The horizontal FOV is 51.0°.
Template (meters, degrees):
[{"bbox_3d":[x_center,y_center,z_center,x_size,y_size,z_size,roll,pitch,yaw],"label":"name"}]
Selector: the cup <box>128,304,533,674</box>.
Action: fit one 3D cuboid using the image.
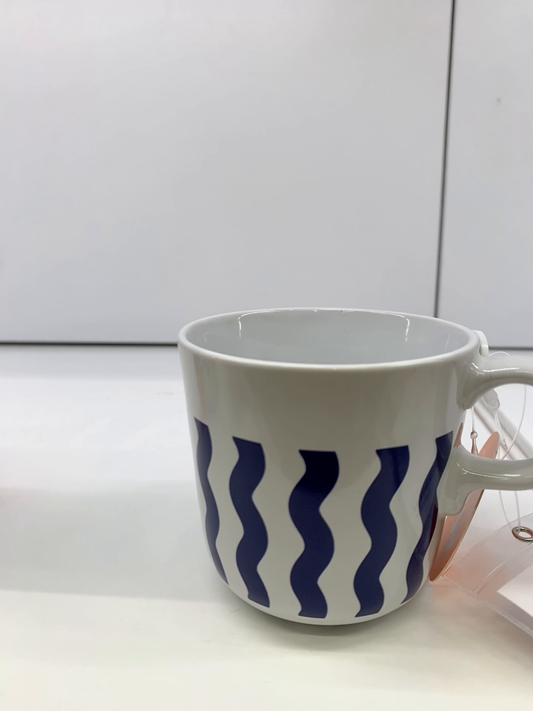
[{"bbox_3d":[0.026,0.026,0.157,0.101,0.071,0.076,0,13,6],"label":"cup"}]
